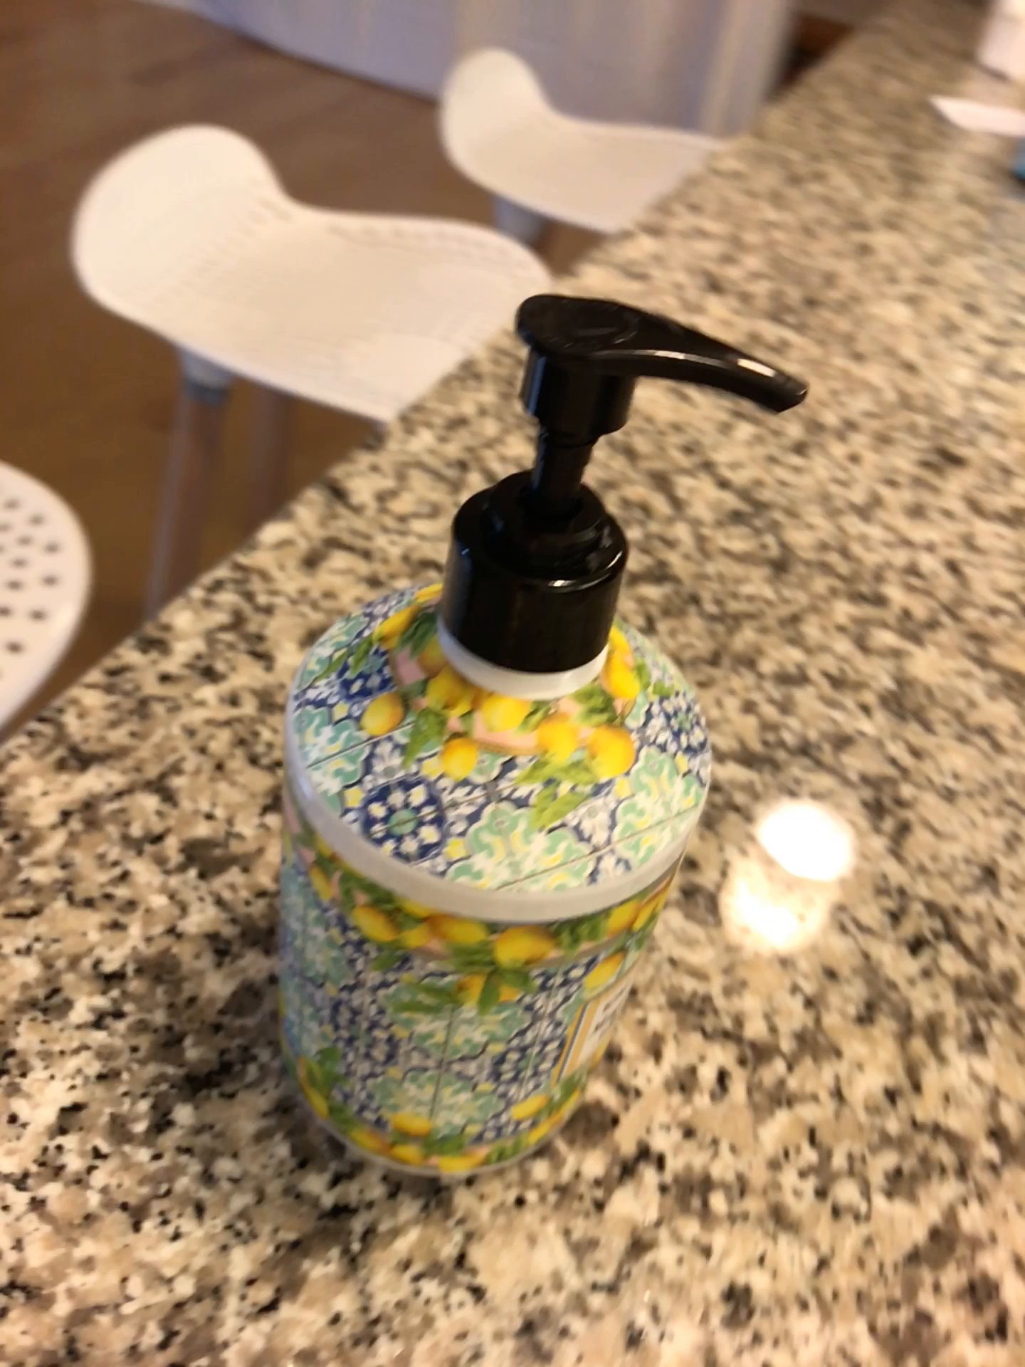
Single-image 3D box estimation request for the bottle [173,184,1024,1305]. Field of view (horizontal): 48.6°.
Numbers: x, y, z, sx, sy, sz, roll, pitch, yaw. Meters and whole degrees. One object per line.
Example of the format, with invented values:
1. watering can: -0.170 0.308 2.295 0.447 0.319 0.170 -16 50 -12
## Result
1. bottle: 0.007 0.023 0.227 0.100 0.189 0.091 22 44 11
